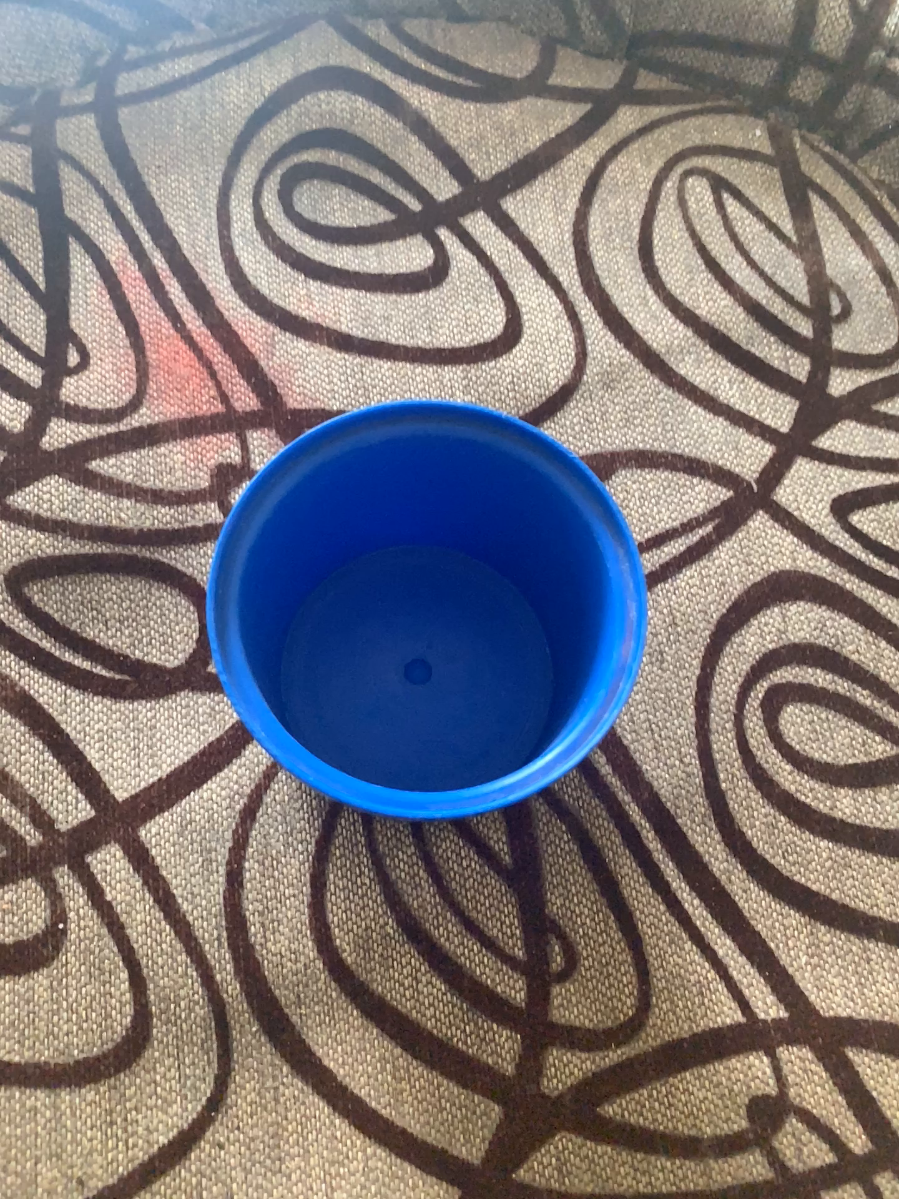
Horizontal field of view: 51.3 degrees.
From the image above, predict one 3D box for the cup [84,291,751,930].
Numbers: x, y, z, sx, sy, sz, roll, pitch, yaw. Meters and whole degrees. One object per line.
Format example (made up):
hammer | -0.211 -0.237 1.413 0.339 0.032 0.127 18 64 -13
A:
cup | -0.006 0.006 0.192 0.080 0.070 0.080 1 72 -4
